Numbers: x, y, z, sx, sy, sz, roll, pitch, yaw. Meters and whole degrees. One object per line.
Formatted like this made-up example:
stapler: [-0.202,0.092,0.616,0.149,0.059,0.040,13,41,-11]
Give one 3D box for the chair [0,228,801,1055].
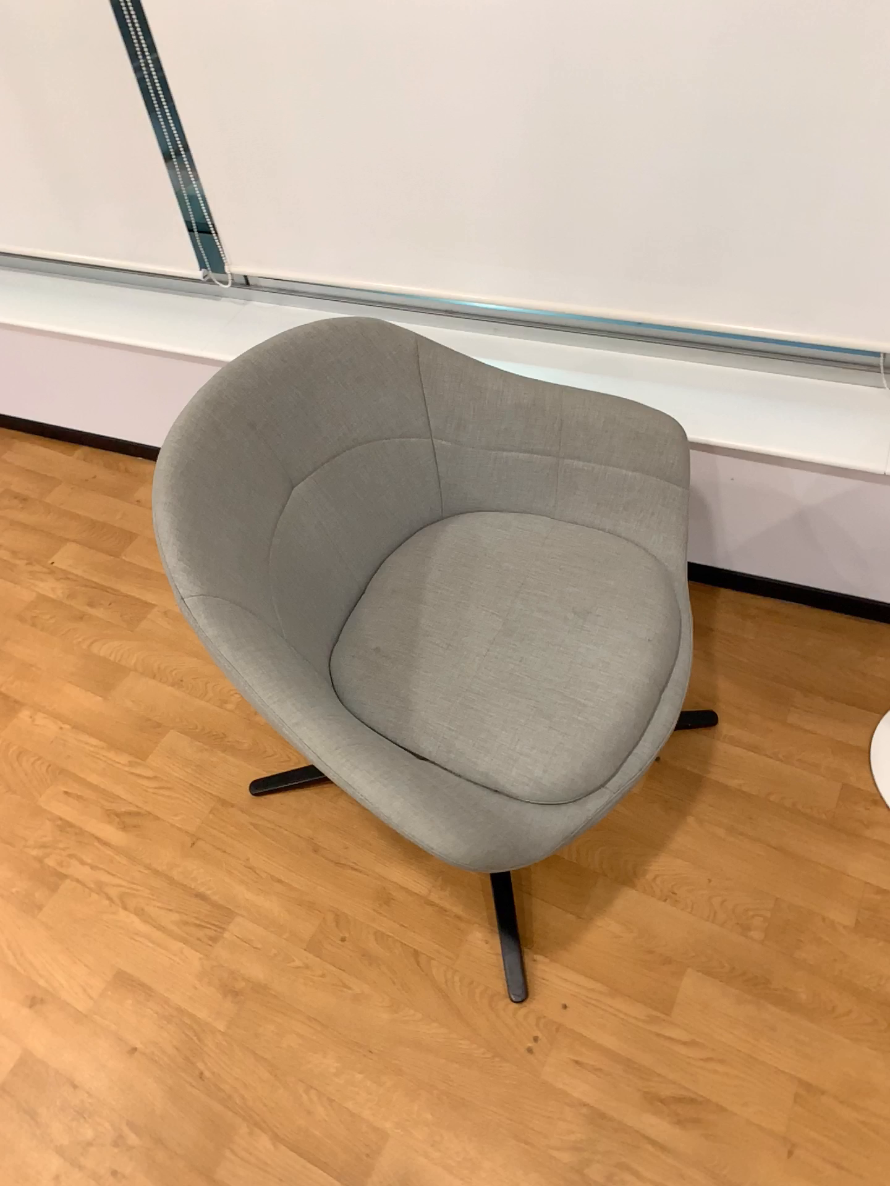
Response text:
chair: [0.000,0.051,1.282,0.682,0.754,0.674,19,54,24]
